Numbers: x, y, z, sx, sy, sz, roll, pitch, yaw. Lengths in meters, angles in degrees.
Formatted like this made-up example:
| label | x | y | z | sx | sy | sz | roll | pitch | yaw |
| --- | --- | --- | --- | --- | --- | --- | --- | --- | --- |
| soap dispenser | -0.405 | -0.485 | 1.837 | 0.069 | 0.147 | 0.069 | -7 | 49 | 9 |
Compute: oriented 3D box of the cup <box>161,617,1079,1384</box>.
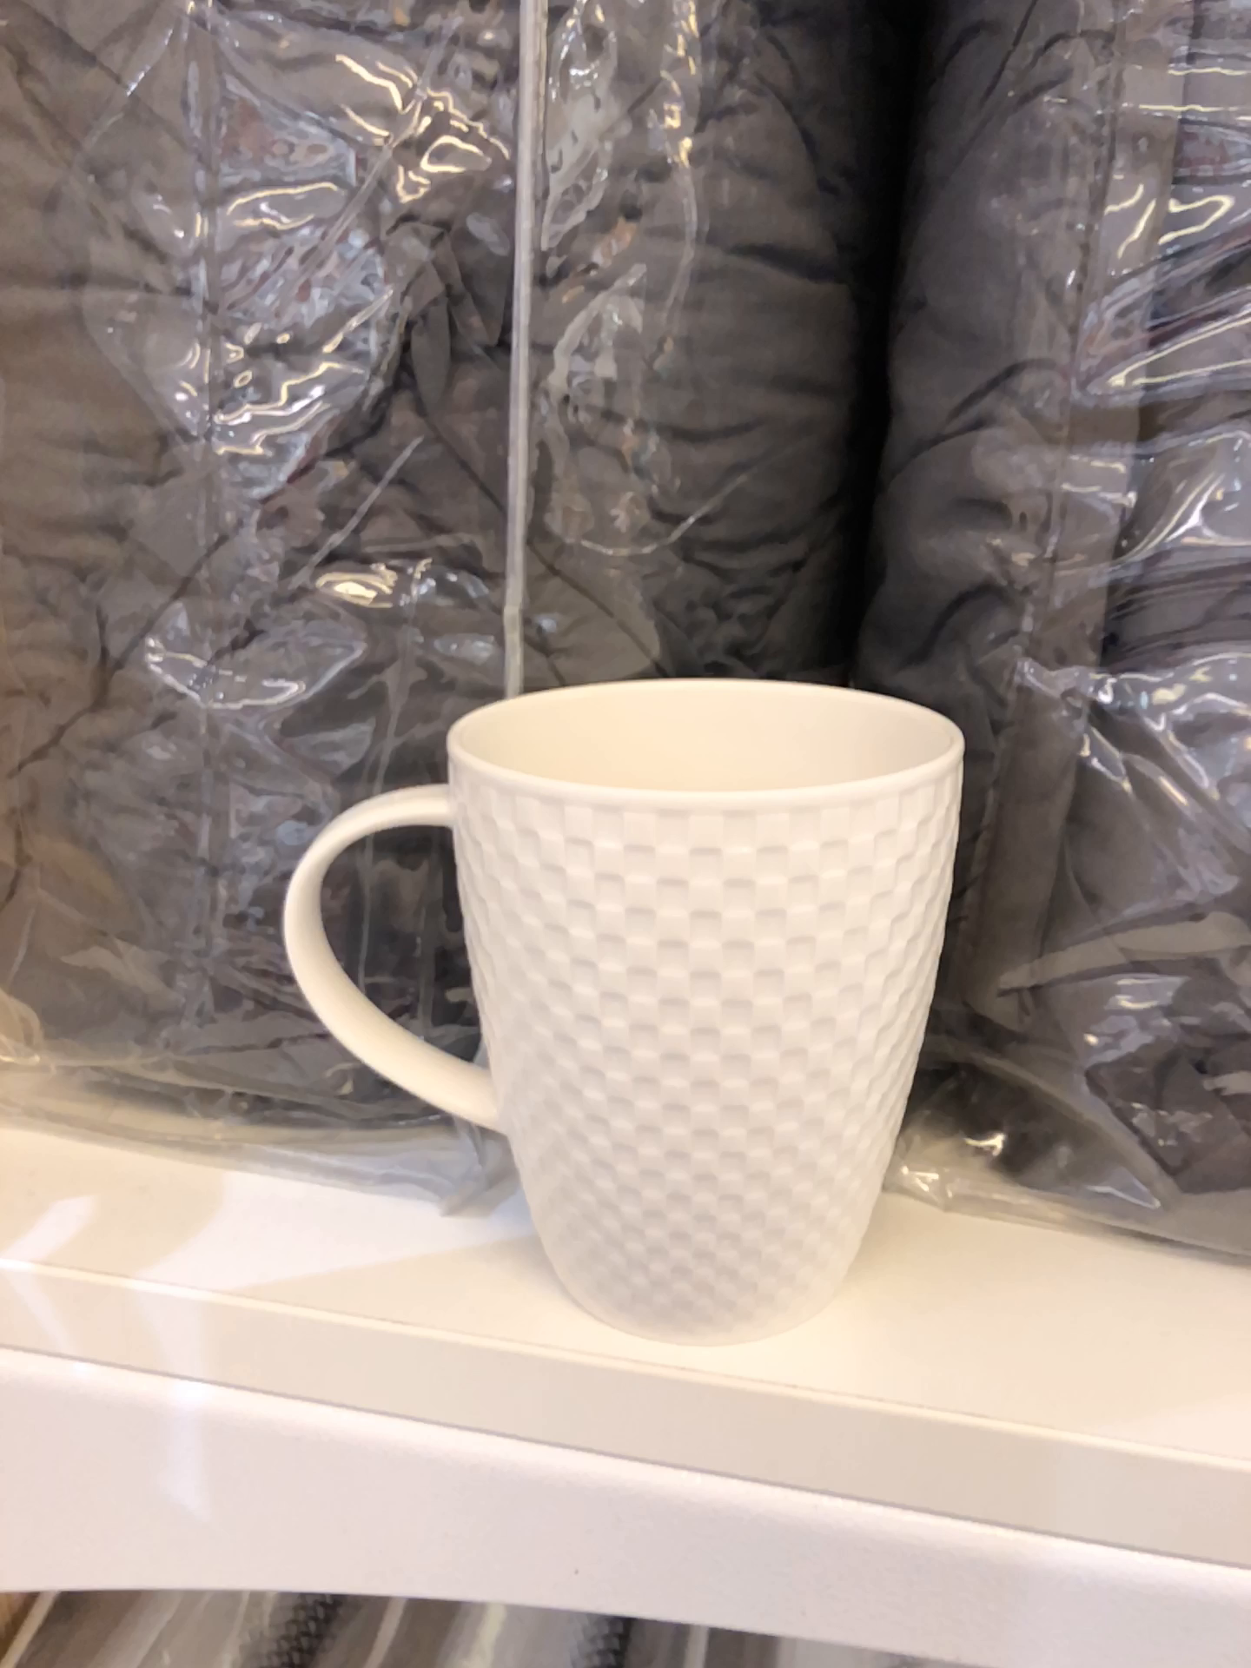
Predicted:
| label | x | y | z | sx | sy | sz | roll | pitch | yaw |
| --- | --- | --- | --- | --- | --- | --- | --- | --- | --- |
| cup | -0.003 | 0.018 | 0.219 | 0.110 | 0.090 | 0.080 | -1 | 17 | -5 |
